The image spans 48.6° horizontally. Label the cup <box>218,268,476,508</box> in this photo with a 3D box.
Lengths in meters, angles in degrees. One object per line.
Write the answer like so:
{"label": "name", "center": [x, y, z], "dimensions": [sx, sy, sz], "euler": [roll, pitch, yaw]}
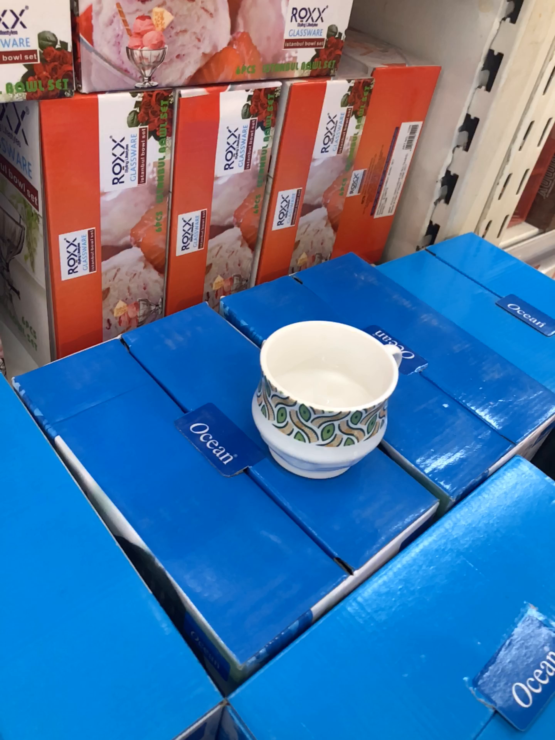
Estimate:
{"label": "cup", "center": [0.034, 0.003, 0.311], "dimensions": [0.101, 0.060, 0.070], "euler": [-26, 53, -37]}
